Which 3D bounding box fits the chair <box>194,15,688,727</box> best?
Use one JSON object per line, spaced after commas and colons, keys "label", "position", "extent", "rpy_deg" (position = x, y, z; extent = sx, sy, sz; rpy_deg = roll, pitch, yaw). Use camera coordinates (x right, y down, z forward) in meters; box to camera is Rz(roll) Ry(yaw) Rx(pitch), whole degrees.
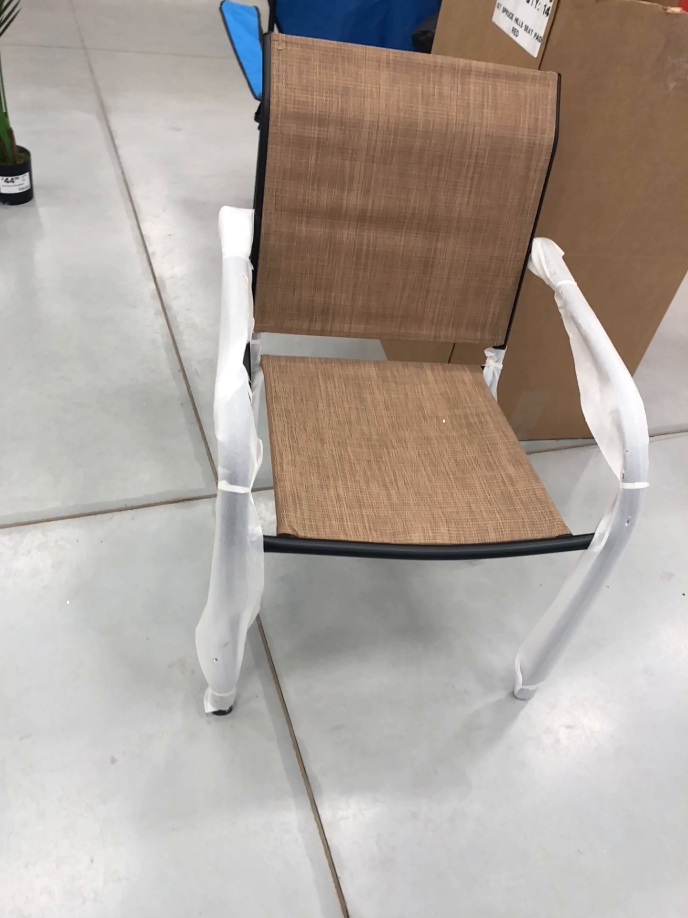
{"label": "chair", "position": [0.085, -0.096, 1.222], "extent": [0.620, 0.877, 0.632], "rpy_deg": [1, 44, -12]}
